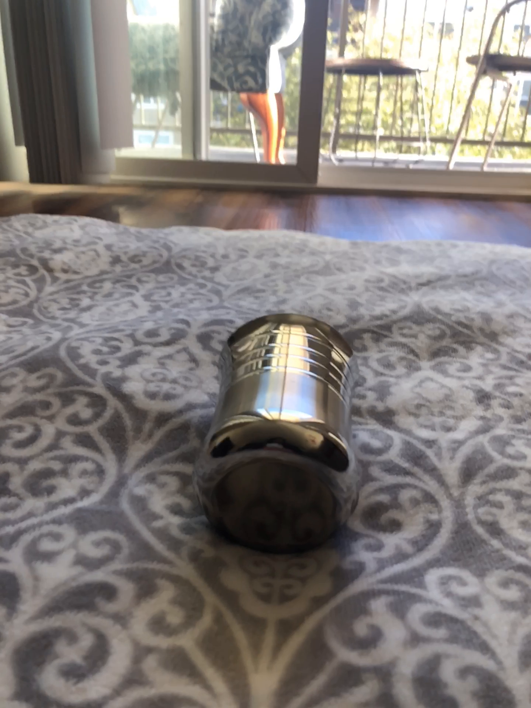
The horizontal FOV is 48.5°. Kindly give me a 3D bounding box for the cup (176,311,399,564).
[{"bbox_3d":[0.010,0.030,0.256,0.077,0.066,0.087,4,26,4],"label":"cup"}]
